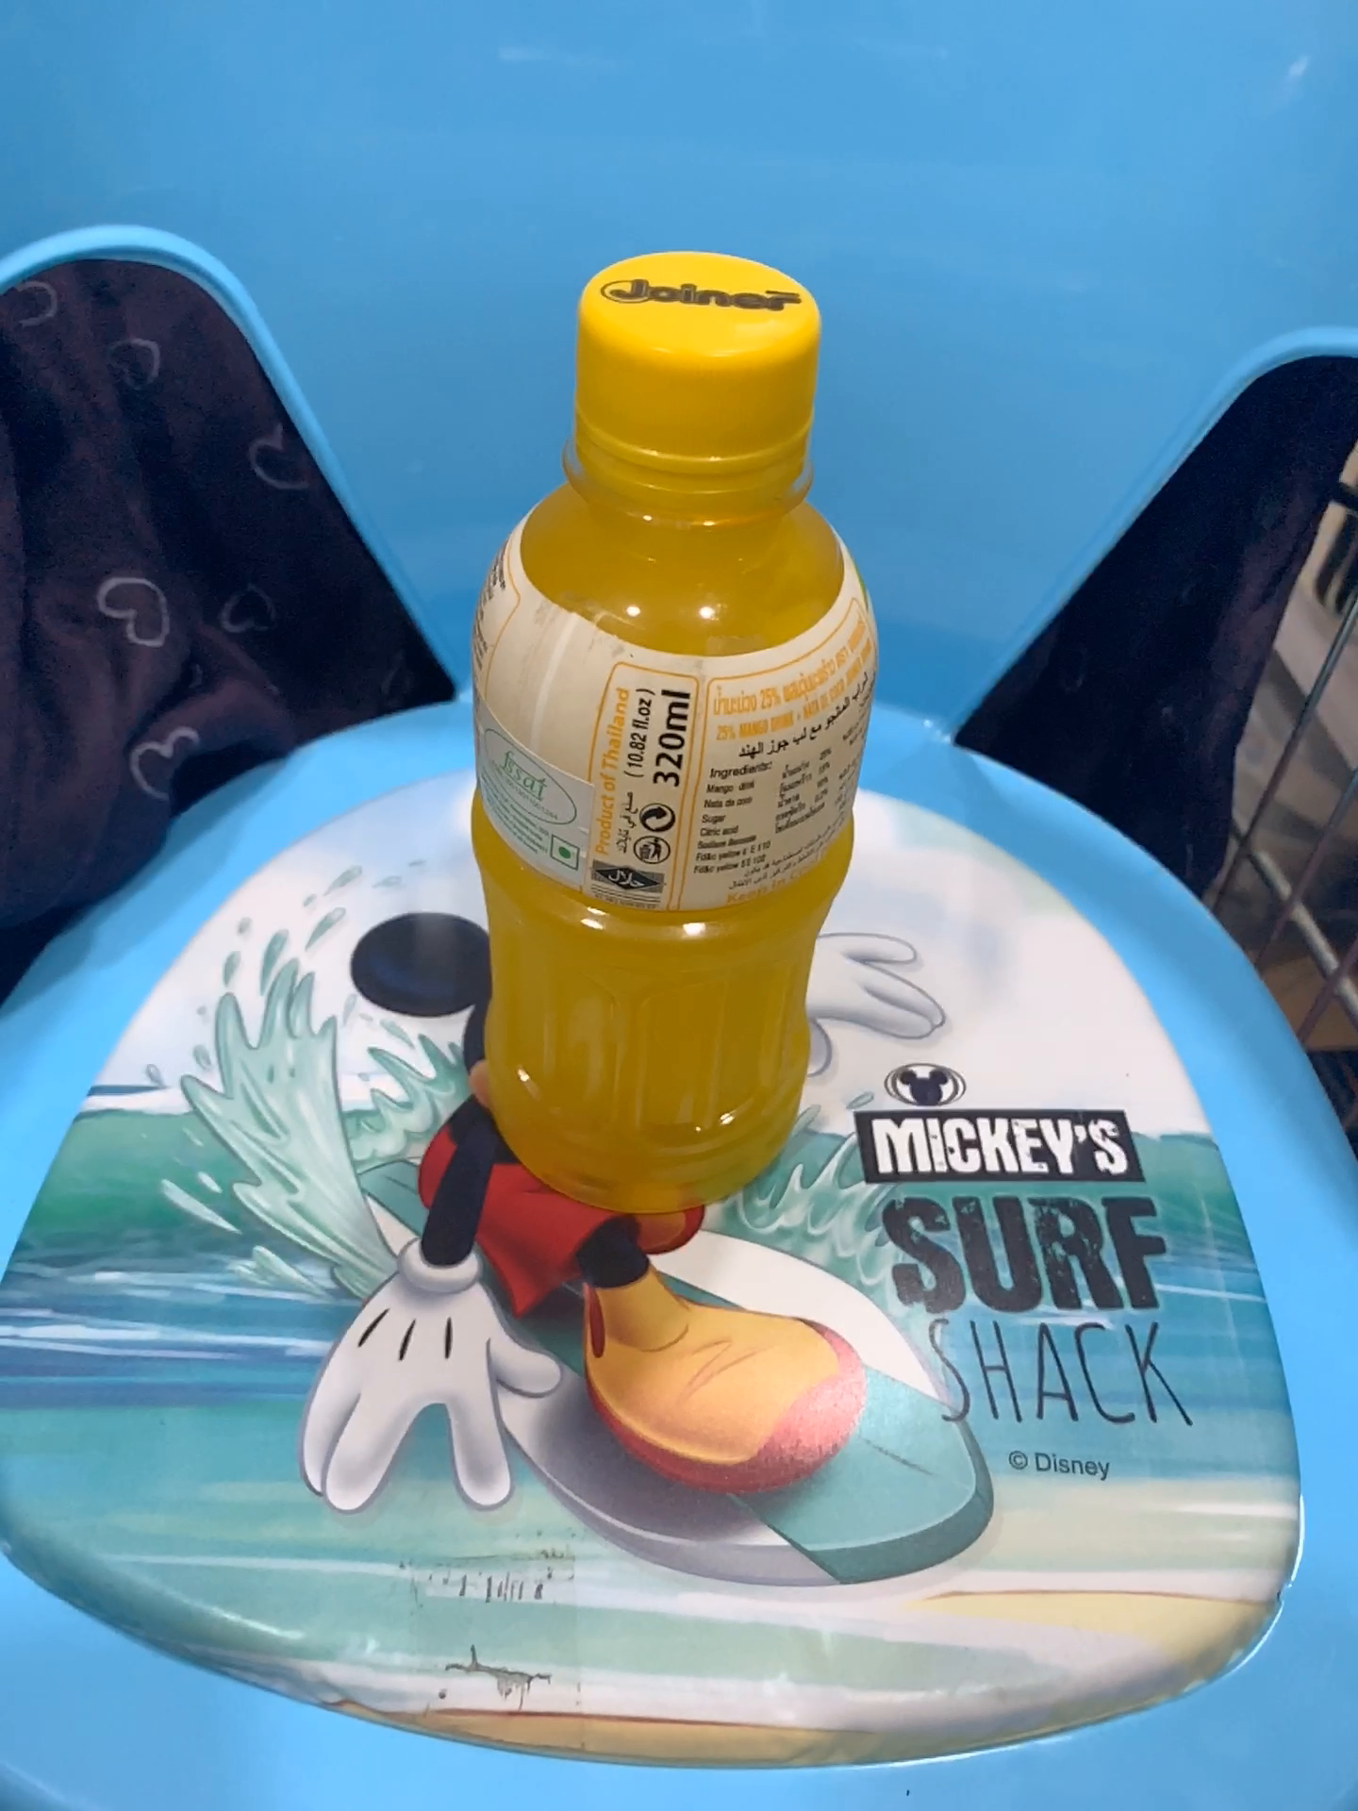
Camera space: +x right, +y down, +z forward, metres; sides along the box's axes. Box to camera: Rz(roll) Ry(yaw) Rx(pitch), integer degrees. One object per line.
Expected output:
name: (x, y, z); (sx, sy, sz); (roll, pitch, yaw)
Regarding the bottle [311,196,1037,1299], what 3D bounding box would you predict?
bottle: (-0.002, -0.018, 0.209); (0.060, 0.139, 0.060); (2, 42, -2)
